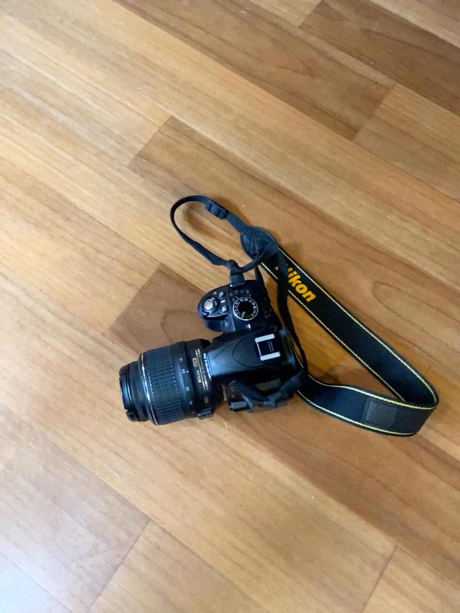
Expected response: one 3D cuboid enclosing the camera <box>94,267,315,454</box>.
[{"bbox_3d":[-0.025,0.054,0.440,0.161,0.090,0.121,-14,73,-6],"label":"camera"}]
